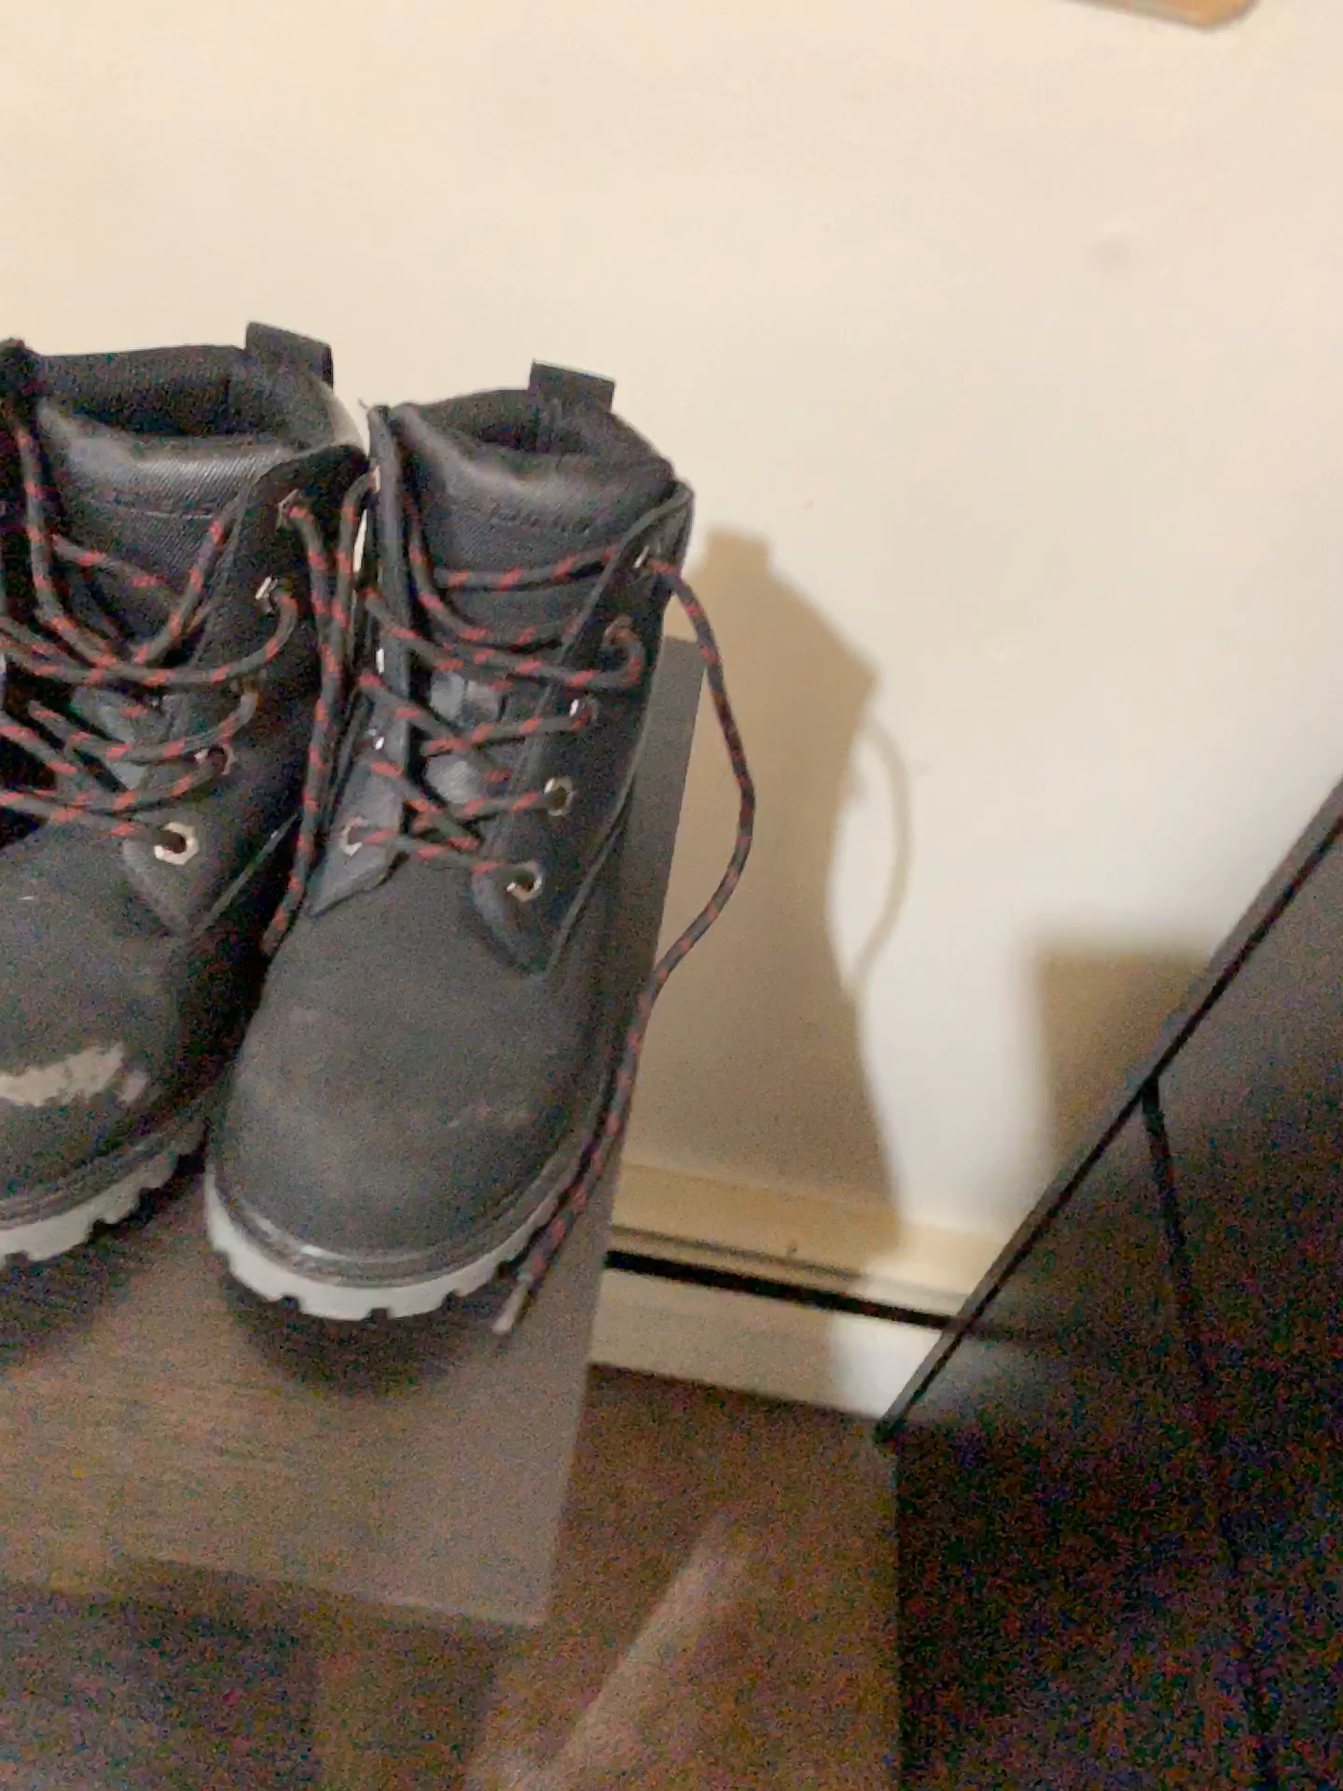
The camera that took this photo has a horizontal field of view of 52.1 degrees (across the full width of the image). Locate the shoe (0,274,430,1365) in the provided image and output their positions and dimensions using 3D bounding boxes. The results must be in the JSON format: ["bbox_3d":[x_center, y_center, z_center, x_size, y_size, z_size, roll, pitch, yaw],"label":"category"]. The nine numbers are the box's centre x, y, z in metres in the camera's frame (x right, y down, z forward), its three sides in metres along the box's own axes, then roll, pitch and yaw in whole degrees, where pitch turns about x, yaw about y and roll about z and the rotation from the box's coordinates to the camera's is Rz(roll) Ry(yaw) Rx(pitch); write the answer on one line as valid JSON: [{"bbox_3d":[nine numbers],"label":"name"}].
[{"bbox_3d":[-0.142,-0.029,0.354,0.100,0.158,0.222,11,44,-2],"label":"shoe"}]

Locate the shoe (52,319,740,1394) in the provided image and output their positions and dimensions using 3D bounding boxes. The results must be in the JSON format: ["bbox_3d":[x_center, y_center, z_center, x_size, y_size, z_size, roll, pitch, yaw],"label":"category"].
[{"bbox_3d":[-0.055,-0.021,0.369,0.100,0.158,0.232,11,44,-2],"label":"shoe"}]
